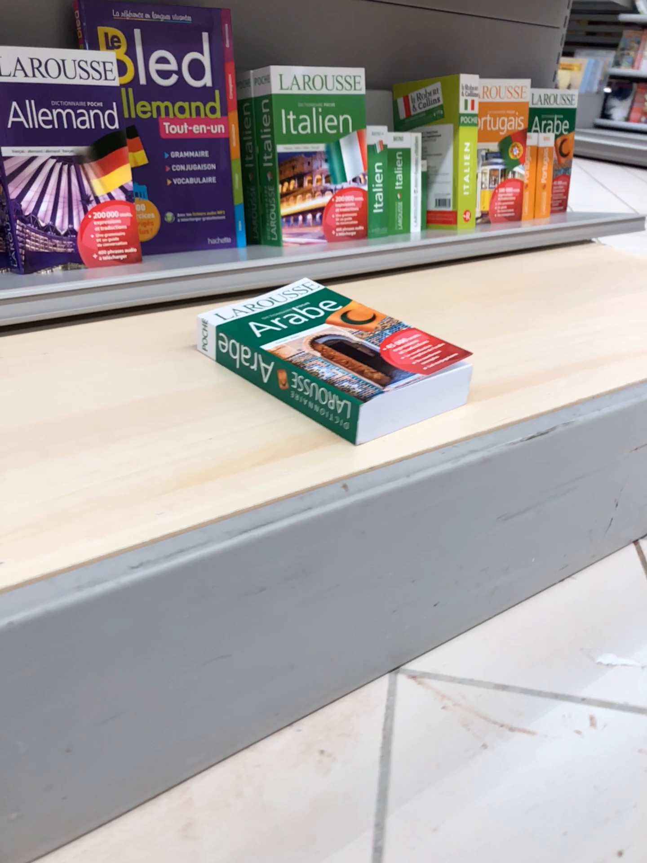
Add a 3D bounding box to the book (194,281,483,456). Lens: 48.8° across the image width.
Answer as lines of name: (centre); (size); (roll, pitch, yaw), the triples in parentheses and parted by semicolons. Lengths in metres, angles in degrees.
book: (0.003, -0.055, 0.510); (0.111, 0.045, 0.182); (-18, 35, -37)
